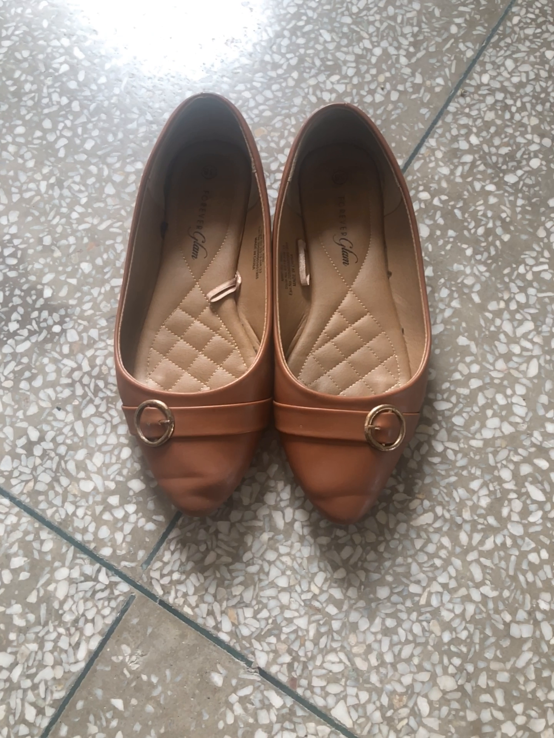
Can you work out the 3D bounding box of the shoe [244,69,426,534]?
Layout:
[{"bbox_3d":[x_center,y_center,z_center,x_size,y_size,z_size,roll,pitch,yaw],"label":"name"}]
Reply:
[{"bbox_3d":[0.032,-0.036,0.359,0.090,0.050,0.250,-2,87,6],"label":"shoe"}]

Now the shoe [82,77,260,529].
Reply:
[{"bbox_3d":[-0.061,-0.036,0.368,0.090,0.050,0.250,-2,87,6],"label":"shoe"}]
